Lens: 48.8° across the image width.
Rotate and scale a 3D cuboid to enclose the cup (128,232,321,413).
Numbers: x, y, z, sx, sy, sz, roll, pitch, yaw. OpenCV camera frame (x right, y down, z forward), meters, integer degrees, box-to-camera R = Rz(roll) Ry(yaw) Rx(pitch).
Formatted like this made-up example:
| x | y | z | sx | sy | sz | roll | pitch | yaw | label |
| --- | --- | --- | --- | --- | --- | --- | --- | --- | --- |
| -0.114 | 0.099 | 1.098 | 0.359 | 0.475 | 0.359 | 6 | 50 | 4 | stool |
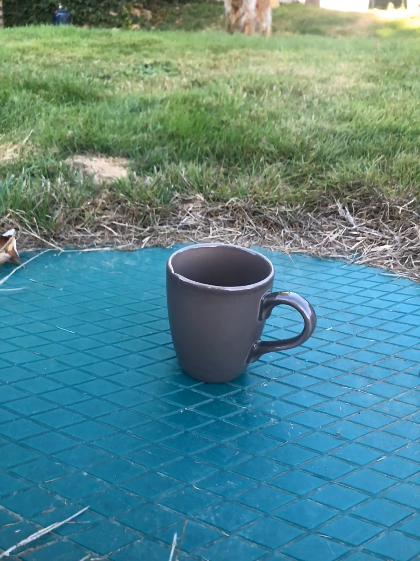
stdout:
| x | y | z | sx | sy | sz | roll | pitch | yaw | label |
| --- | --- | --- | --- | --- | --- | --- | --- | --- | --- |
| 0.011 | 0.026 | 0.389 | 0.126 | 0.086 | 0.091 | 17 | 30 | 28 | cup |
